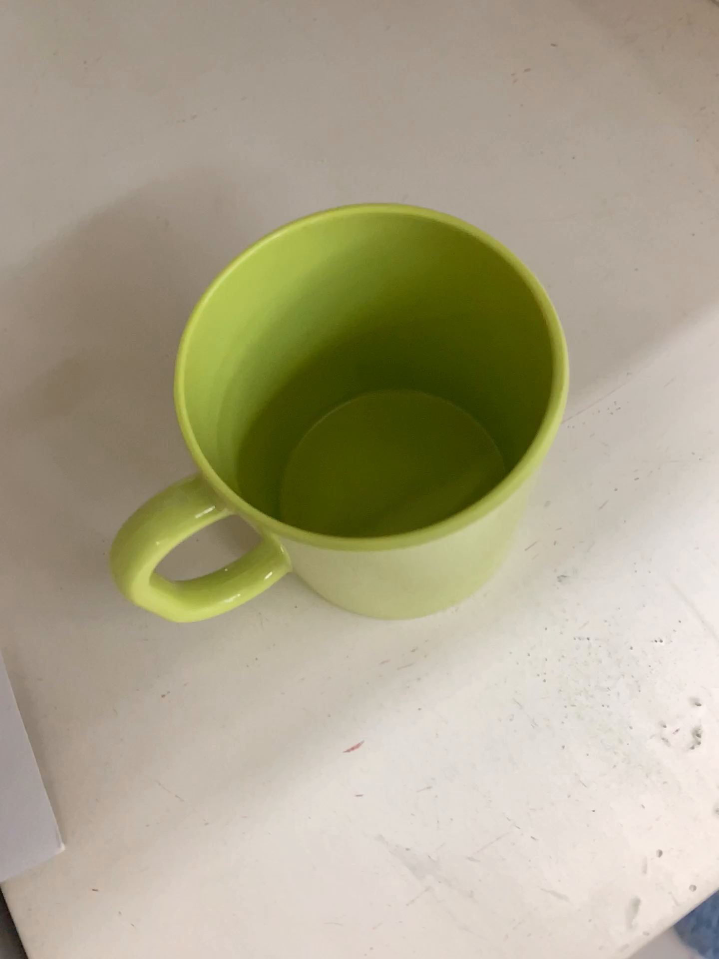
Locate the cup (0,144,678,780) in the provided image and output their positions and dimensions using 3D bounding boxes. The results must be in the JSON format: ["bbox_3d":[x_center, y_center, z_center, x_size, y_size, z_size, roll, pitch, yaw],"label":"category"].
[{"bbox_3d":[-0.006,0.002,0.159,0.100,0.070,0.070,-33,67,-6],"label":"cup"}]
